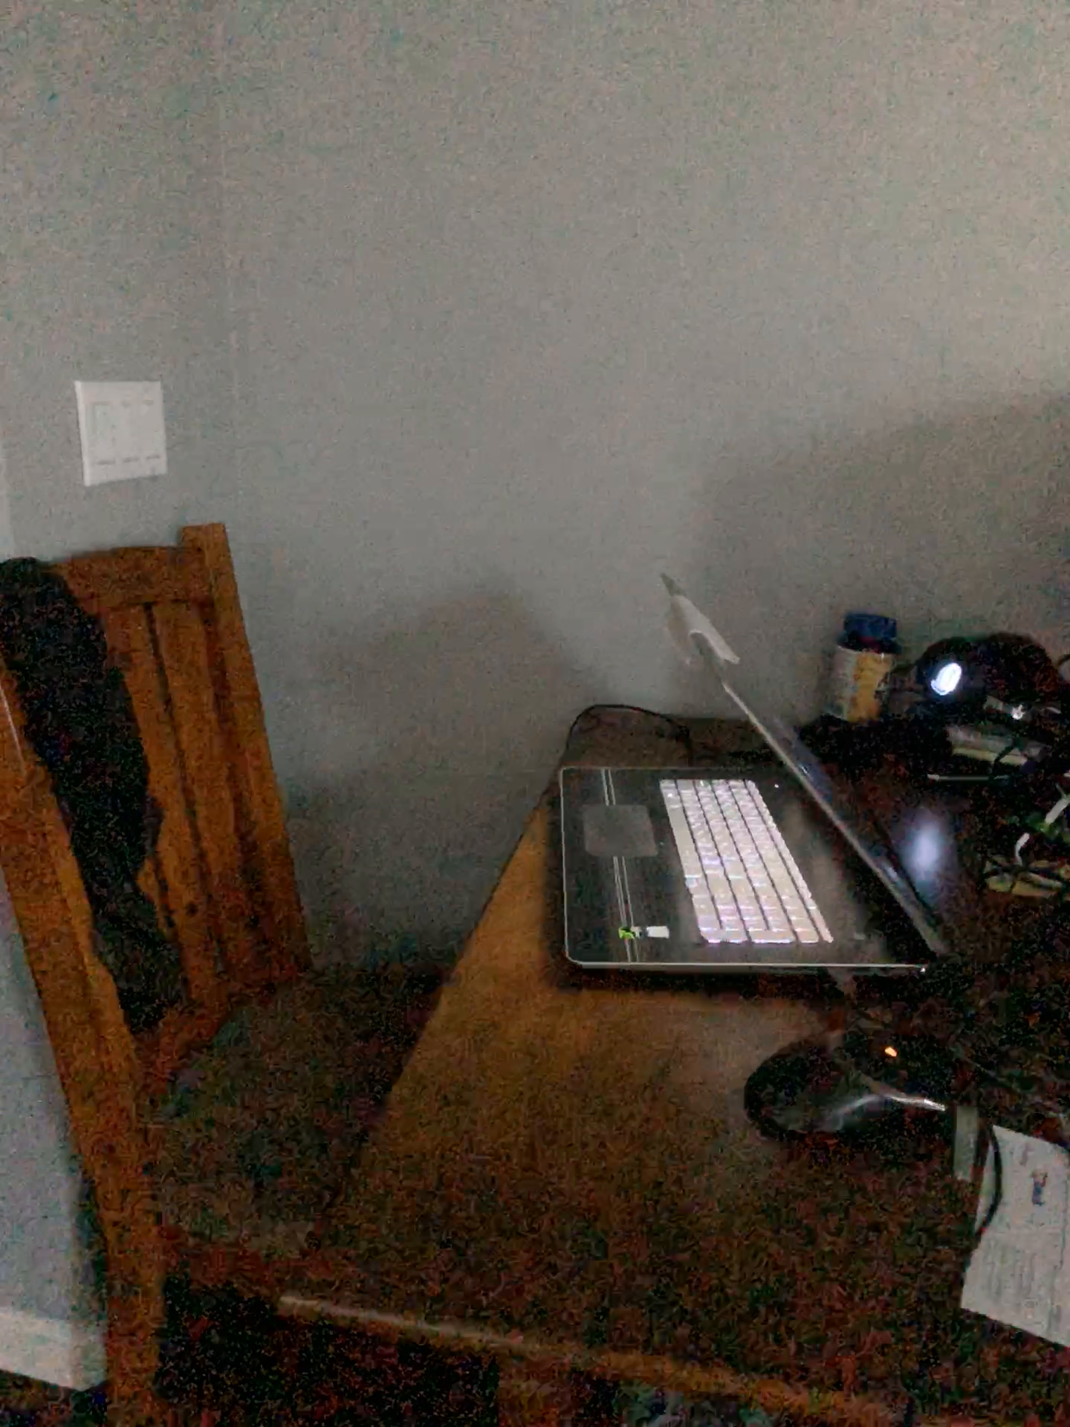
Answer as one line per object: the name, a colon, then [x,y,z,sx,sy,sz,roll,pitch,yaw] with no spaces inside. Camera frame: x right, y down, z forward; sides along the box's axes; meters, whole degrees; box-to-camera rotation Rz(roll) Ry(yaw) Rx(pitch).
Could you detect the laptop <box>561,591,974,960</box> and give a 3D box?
laptop: [0.156,0.026,0.927,0.256,0.187,0.395,0,16,1]
